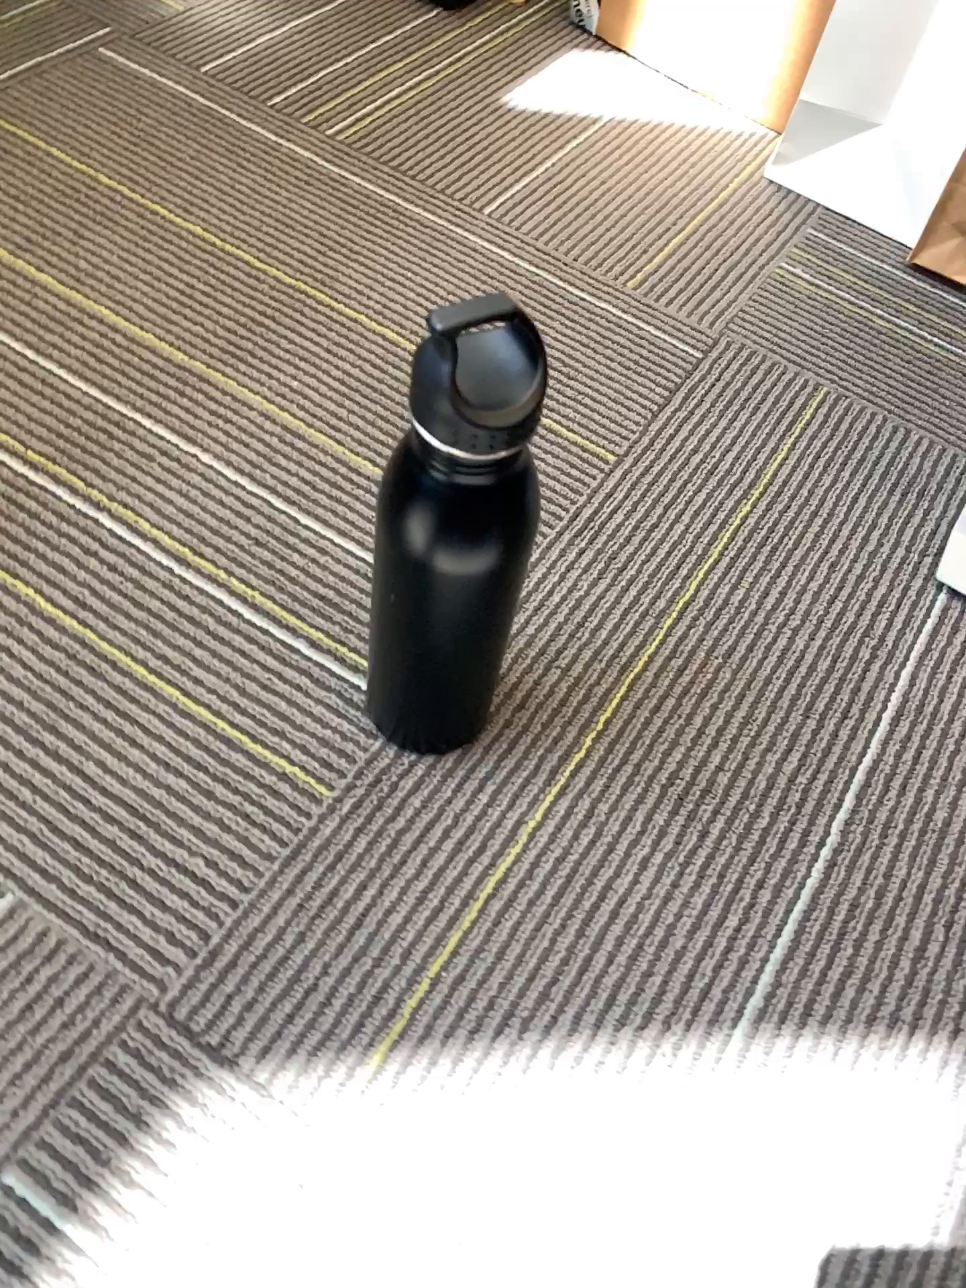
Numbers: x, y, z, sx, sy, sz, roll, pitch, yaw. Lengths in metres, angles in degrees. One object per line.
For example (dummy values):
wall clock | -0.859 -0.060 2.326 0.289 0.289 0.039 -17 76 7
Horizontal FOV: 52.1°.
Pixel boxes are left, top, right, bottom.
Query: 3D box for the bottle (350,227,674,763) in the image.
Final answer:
bottle | -0.006 -0.045 0.431 0.090 0.249 0.080 -5 57 -12
